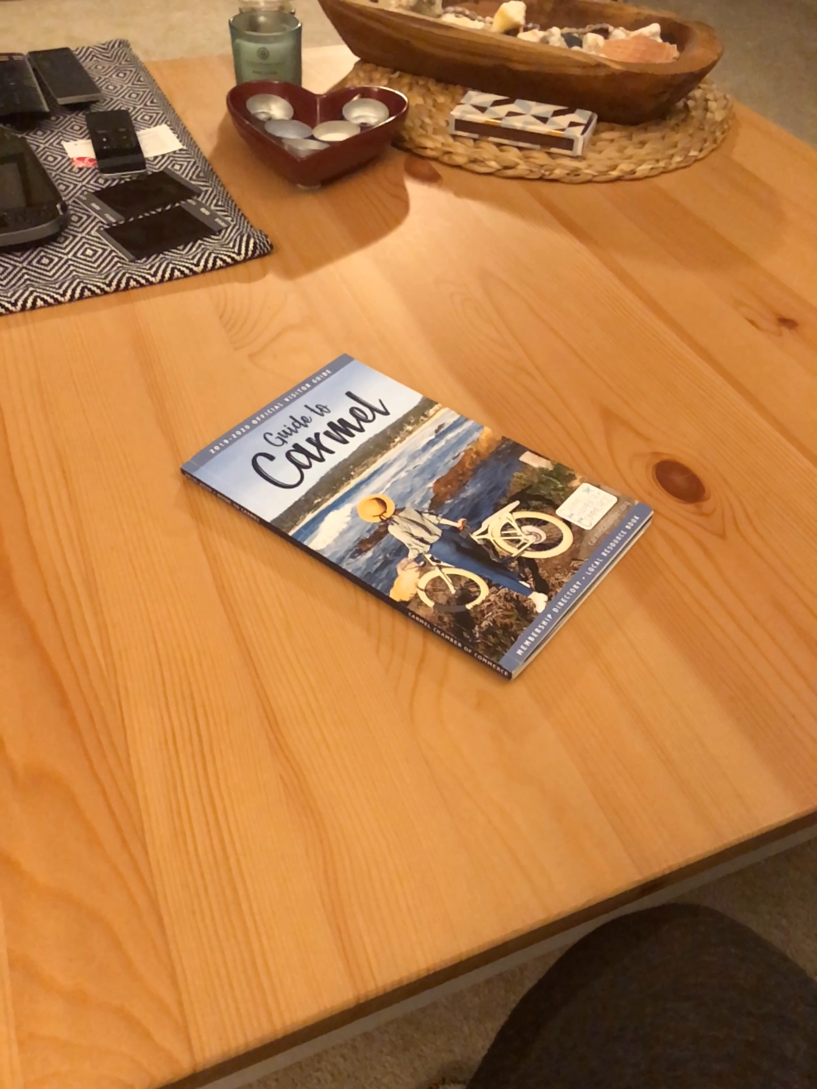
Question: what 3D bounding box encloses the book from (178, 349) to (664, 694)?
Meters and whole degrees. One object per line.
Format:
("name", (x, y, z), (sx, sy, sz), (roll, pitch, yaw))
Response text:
("book", (0.006, -0.026, 0.461), (0.207, 0.010, 0.138), (31, 52, 23))
